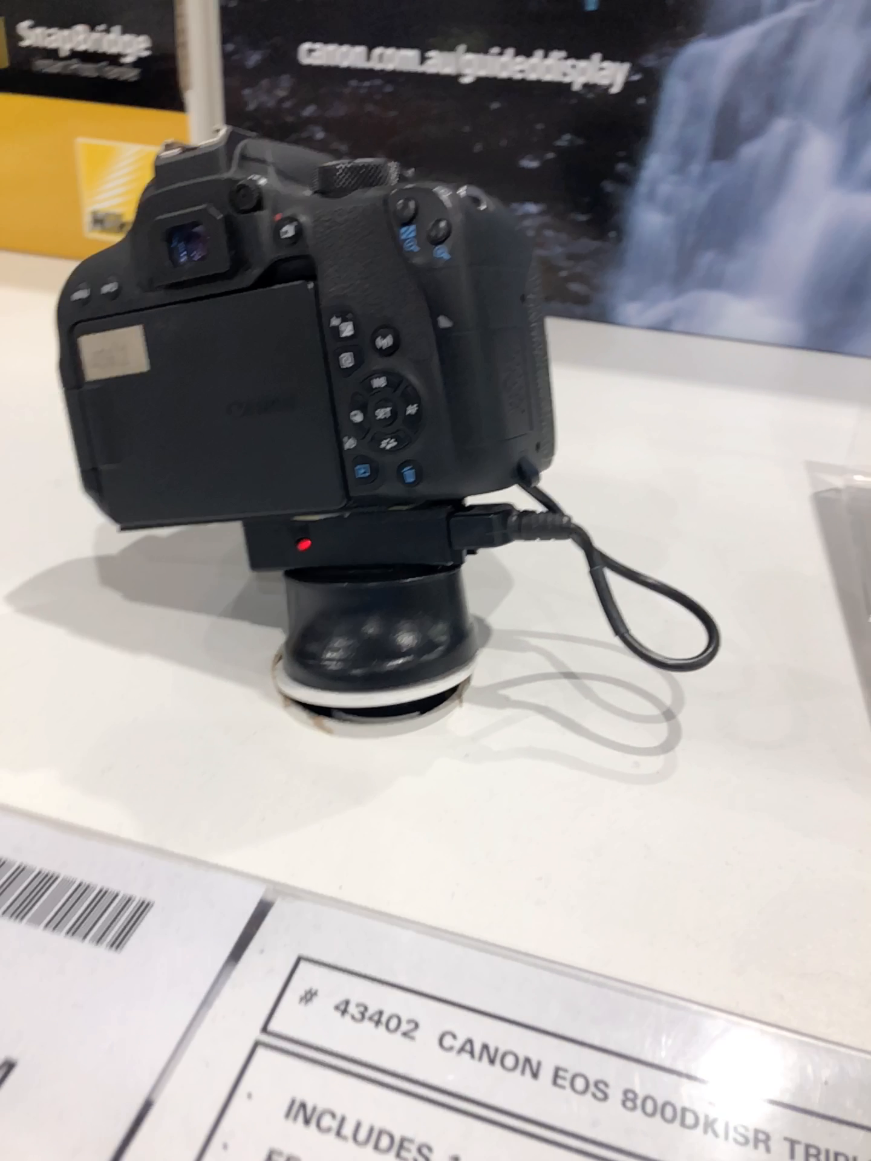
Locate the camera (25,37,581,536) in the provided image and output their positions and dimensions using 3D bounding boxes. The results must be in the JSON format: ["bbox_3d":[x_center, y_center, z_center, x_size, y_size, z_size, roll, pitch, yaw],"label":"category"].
[{"bbox_3d":[-0.034,-0.075,0.285,0.130,0.105,0.070,-4,9,21],"label":"camera"}]
